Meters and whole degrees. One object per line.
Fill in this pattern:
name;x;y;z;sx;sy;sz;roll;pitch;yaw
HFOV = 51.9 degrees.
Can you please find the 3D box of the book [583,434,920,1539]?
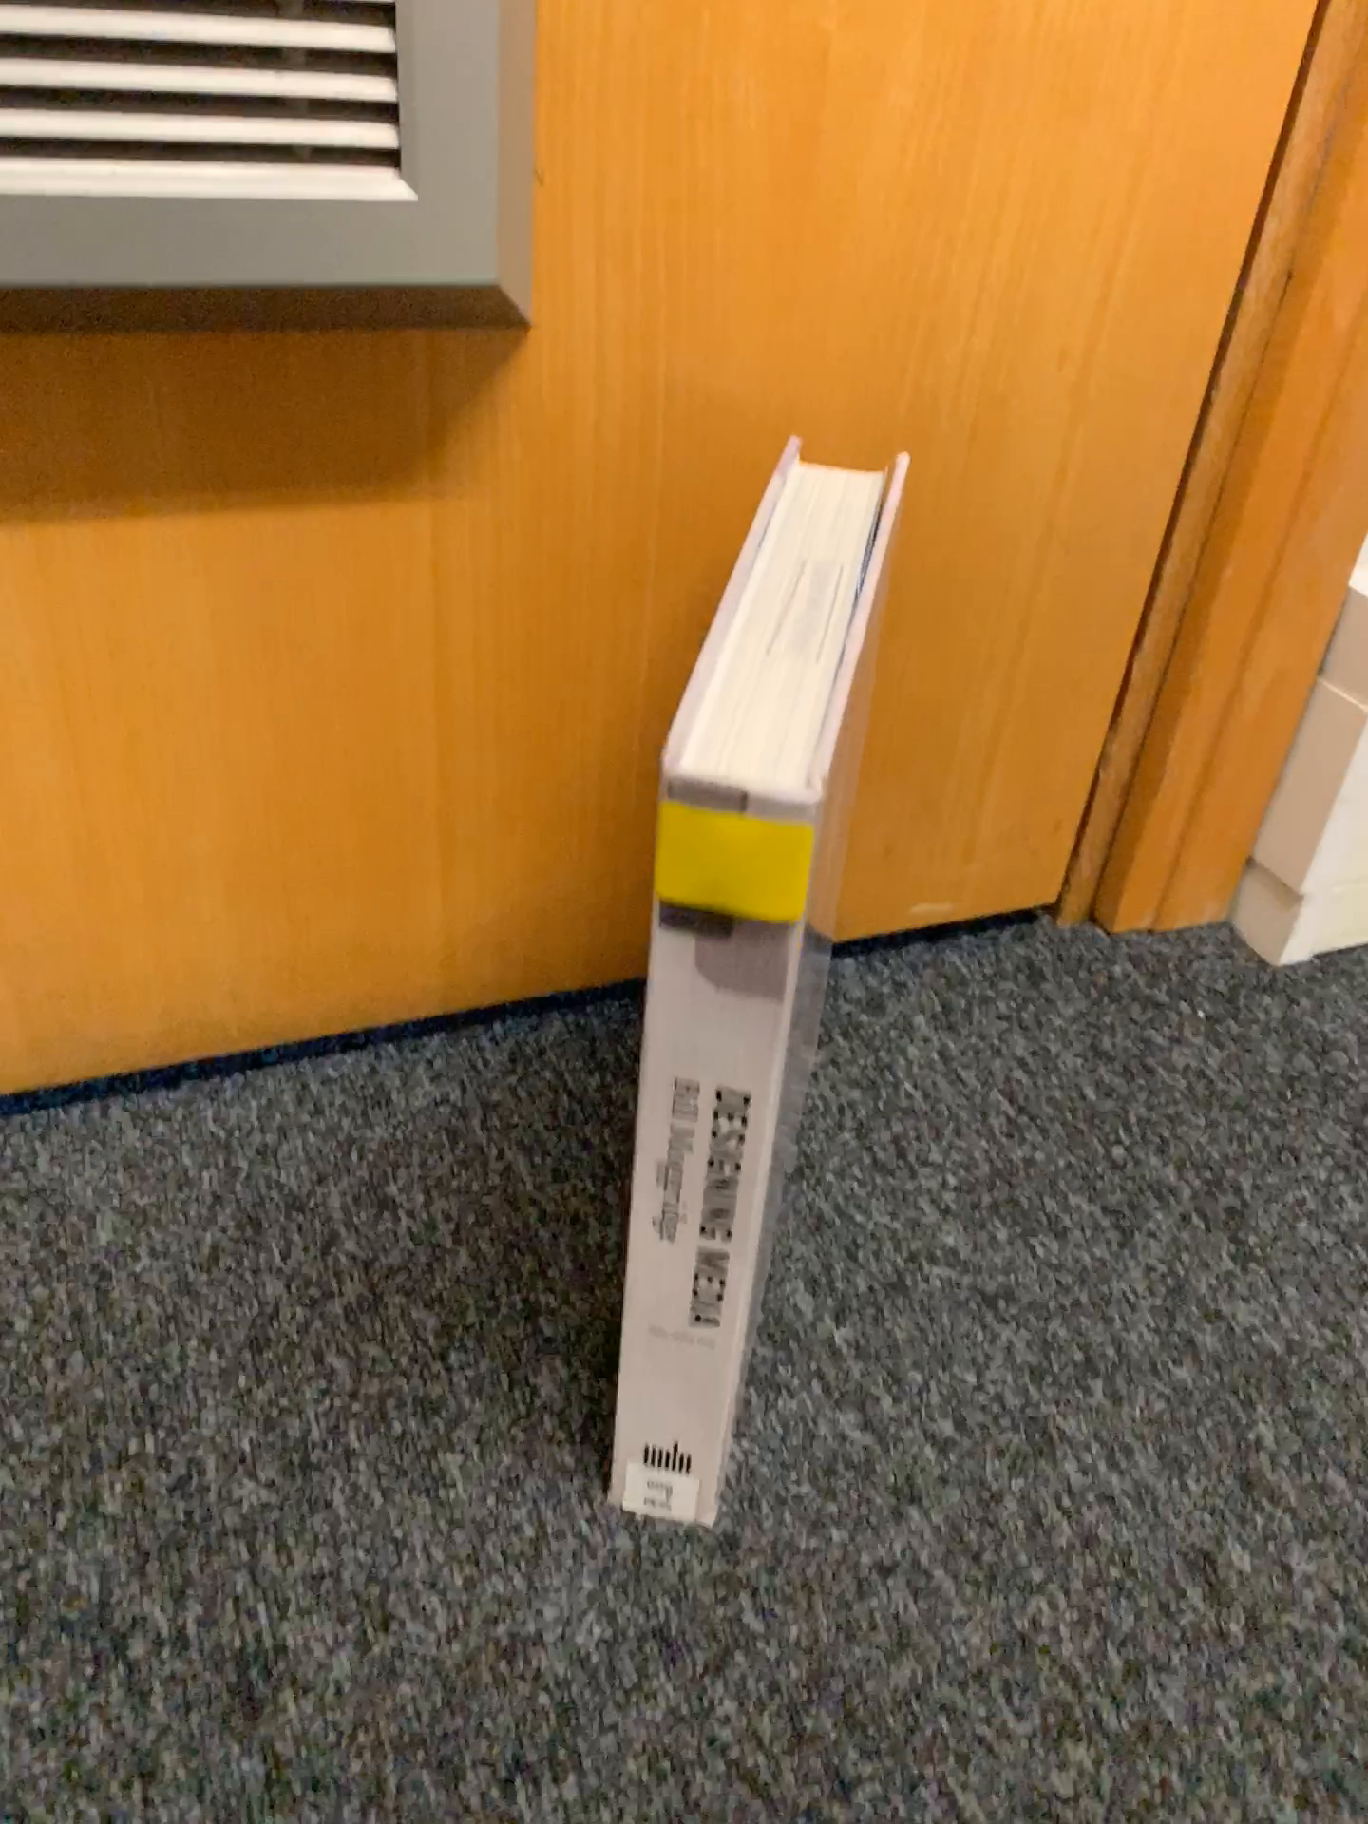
book;0.021;0.013;0.402;0.040;0.231;0.212;10;35;6
